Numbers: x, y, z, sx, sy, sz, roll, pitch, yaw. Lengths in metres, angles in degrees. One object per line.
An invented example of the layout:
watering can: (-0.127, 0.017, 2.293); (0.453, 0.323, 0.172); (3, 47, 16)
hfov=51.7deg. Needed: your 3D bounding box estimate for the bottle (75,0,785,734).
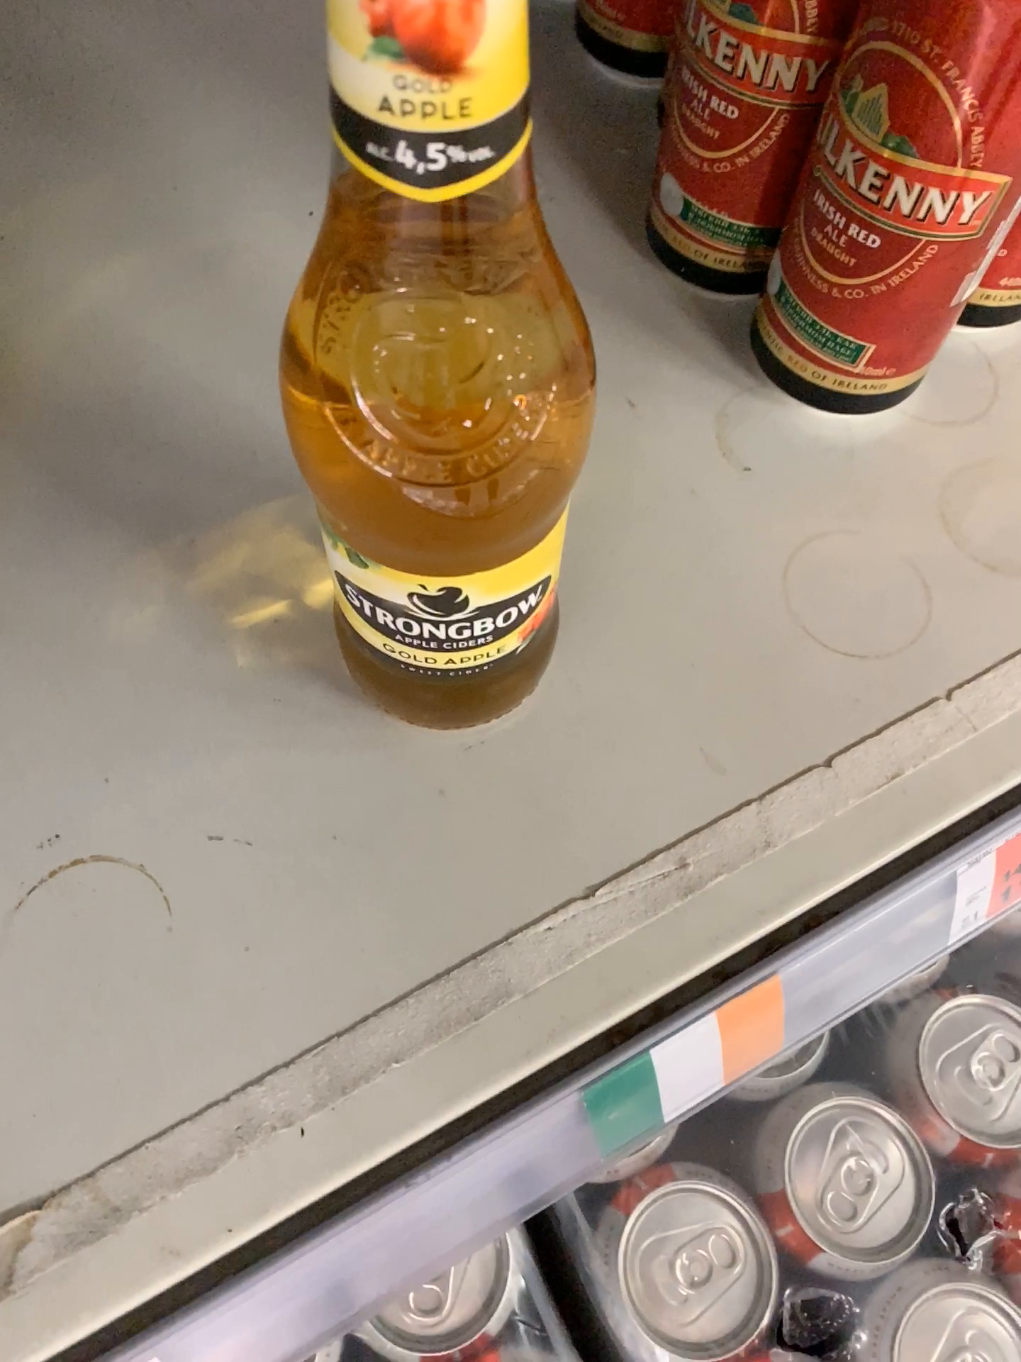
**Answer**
bottle: (-0.014, -0.074, 0.244); (0.080, 0.239, 0.080); (1, 63, -3)
